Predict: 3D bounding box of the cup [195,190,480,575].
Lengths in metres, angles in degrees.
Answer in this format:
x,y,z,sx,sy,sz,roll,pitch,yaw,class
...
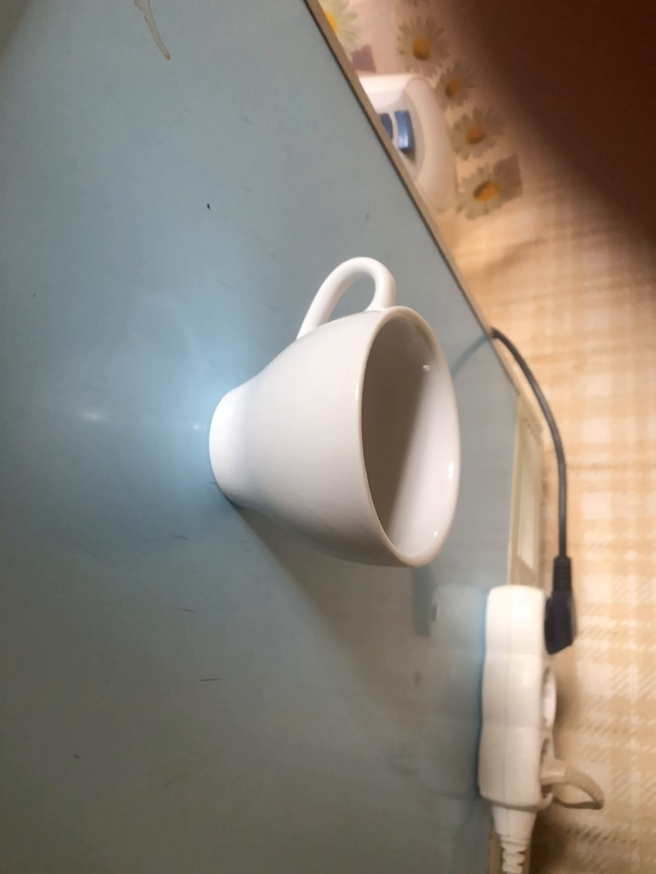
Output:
x,y,z,sx,sy,sz,roll,pitch,yaw,class
0.009,-0.010,0.254,0.097,0.057,0.106,13,75,-60,cup
